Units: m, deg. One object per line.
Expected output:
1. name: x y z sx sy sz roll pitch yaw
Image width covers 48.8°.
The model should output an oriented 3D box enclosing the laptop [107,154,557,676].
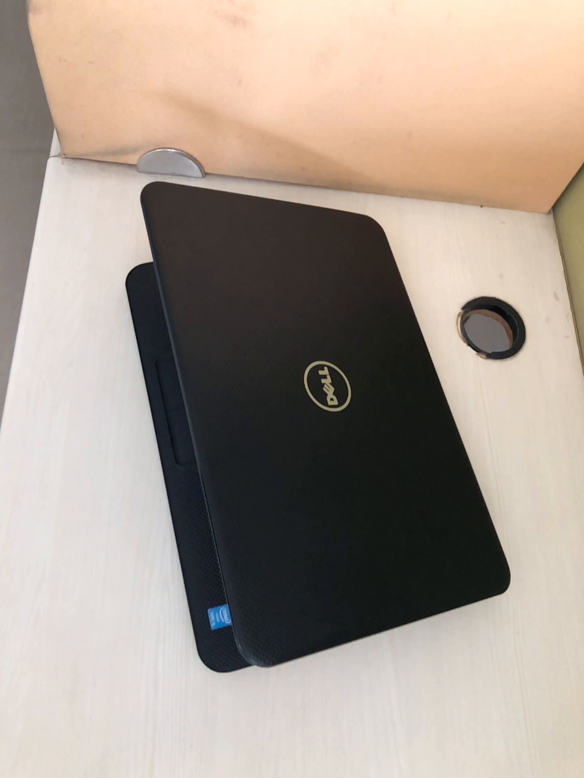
1. laptop: 0.009 0.006 0.529 0.247 0.107 0.367 -12 70 -9
